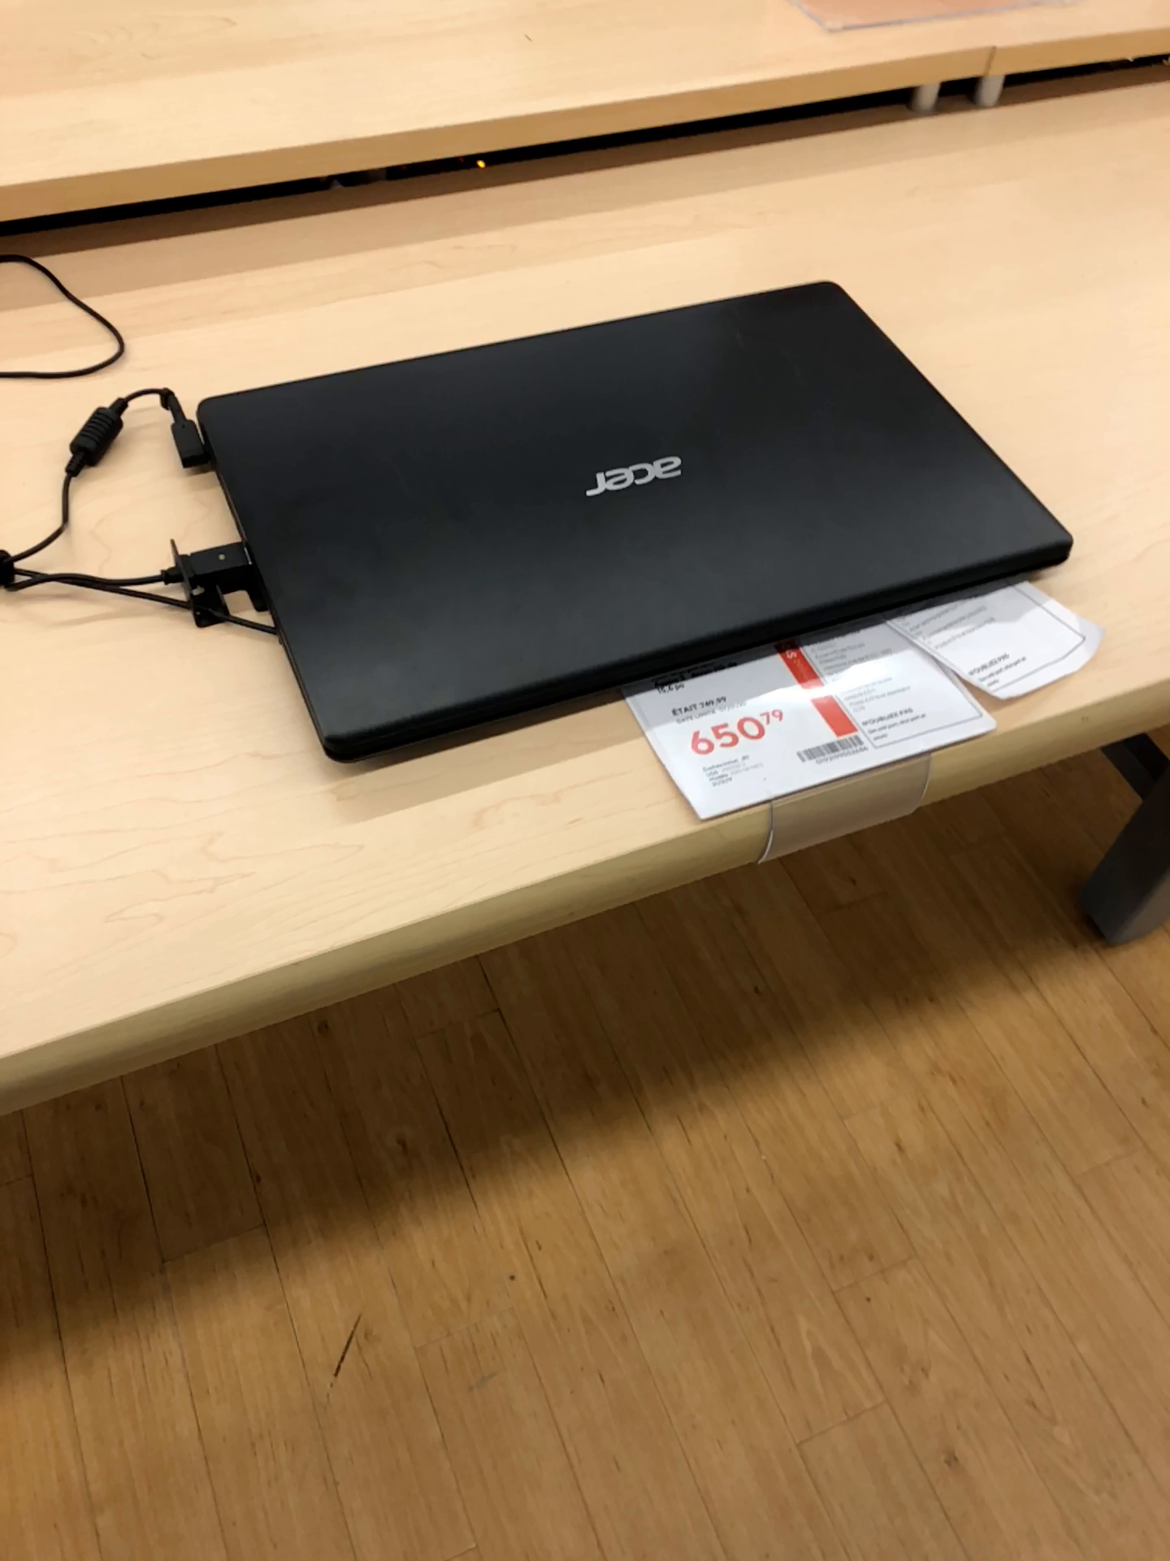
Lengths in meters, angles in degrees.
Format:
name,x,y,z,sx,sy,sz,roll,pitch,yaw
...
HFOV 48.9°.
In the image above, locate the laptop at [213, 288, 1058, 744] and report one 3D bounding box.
name,x,y,z,sx,sy,sz,roll,pitch,yaw
laptop,0.023,-0.144,0.604,0.347,0.003,0.213,-17,56,-18
